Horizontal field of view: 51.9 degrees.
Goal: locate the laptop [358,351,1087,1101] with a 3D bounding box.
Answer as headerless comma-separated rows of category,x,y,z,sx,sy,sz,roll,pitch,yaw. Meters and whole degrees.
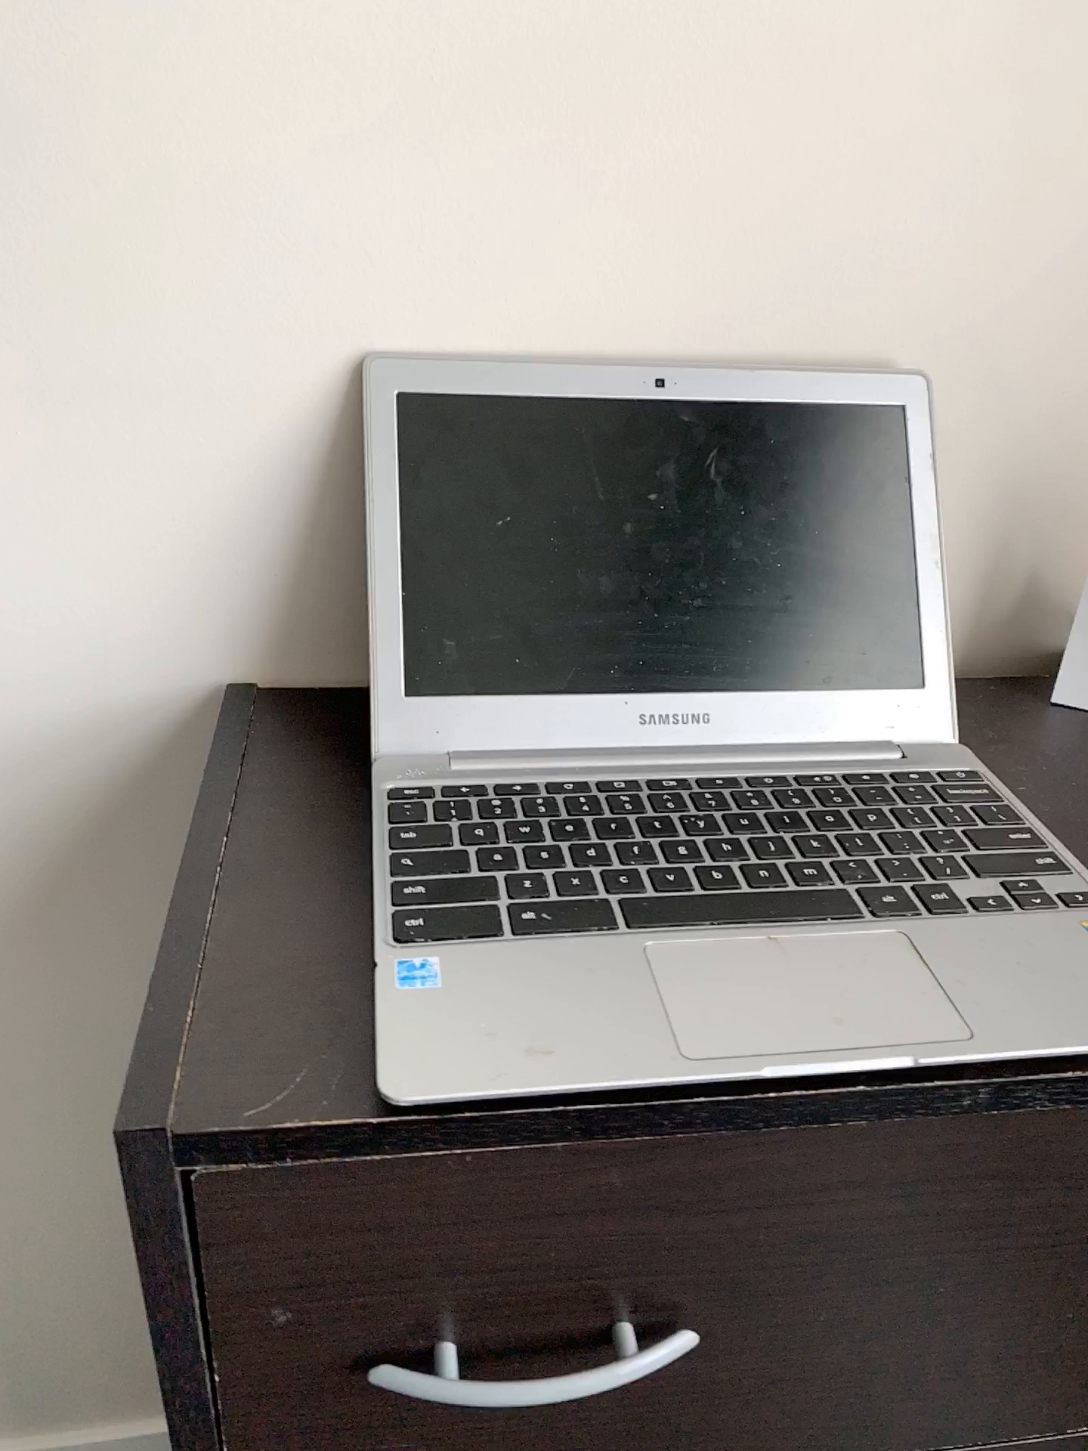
laptop,0.074,-0.039,0.455,0.291,0.153,0.319,-1,28,-10
